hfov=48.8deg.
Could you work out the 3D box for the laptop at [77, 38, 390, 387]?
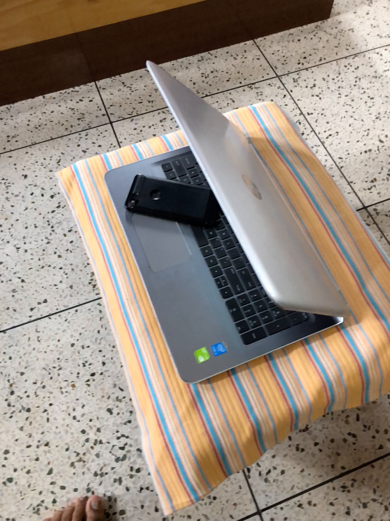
[{"bbox_3d":[0.027,-0.071,0.577,0.236,0.184,0.373,-20,64,-9],"label":"laptop"}]
